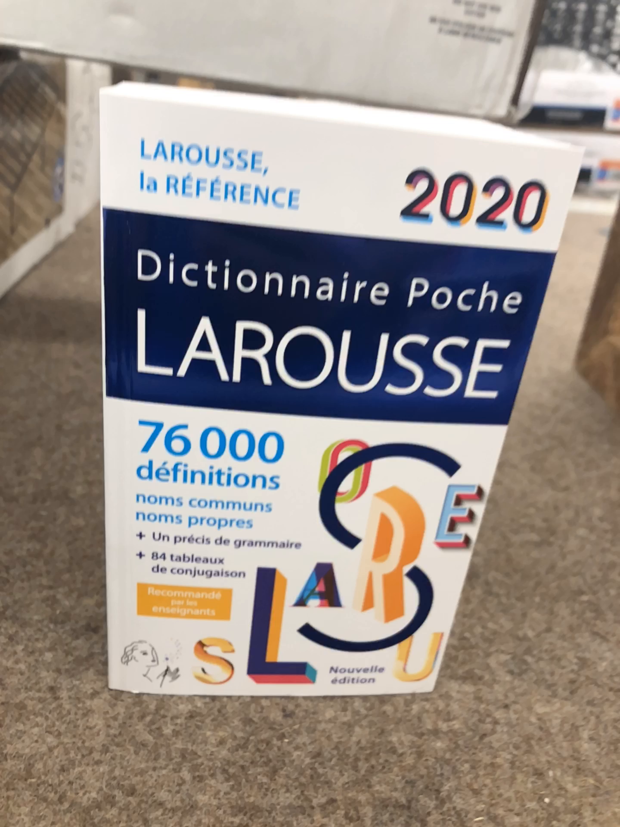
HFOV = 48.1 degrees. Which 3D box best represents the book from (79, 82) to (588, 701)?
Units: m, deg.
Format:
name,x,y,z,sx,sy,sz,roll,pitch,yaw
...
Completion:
name,x,y,z,sx,sy,sz,roll,pitch,yaw
book,-0.004,0.001,0.213,0.111,0.173,0.062,3,26,-8
